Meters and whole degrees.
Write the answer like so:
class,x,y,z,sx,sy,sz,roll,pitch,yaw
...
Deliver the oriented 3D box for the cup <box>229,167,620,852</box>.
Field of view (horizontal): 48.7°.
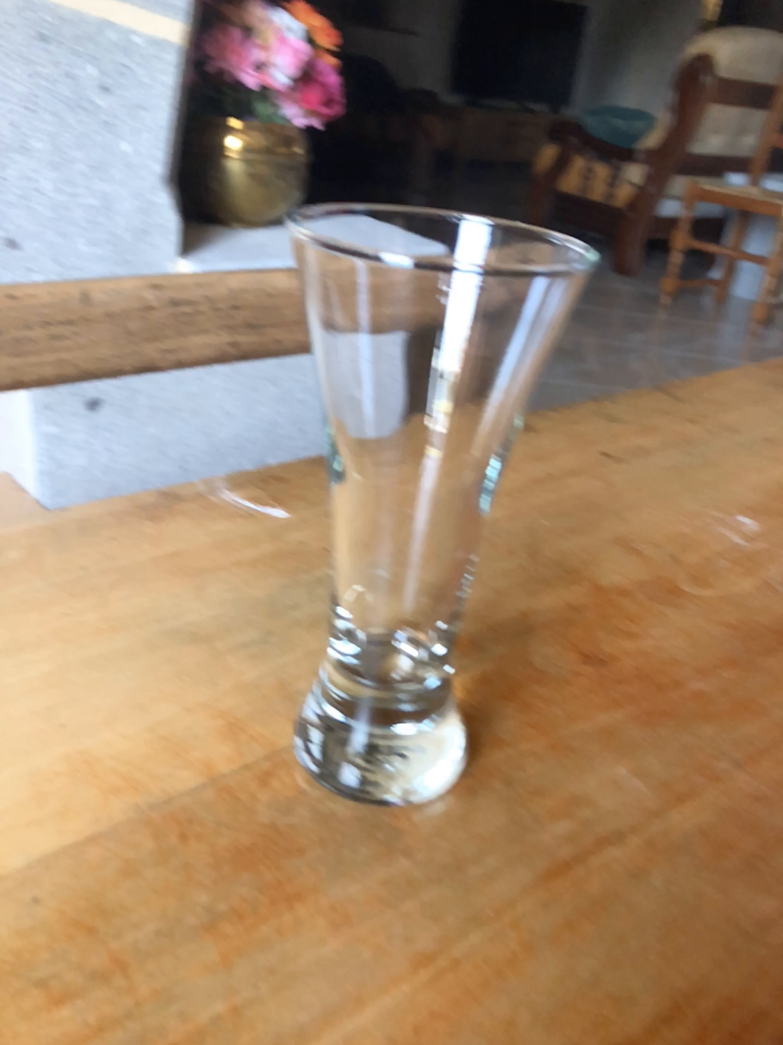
class,x,y,z,sx,sy,sz,roll,pitch,yaw
cup,0.008,-0.006,0.228,0.070,0.149,0.081,12,28,9
